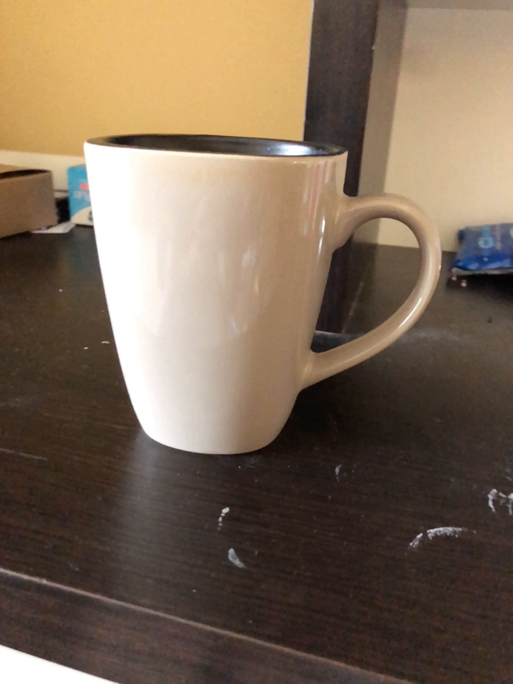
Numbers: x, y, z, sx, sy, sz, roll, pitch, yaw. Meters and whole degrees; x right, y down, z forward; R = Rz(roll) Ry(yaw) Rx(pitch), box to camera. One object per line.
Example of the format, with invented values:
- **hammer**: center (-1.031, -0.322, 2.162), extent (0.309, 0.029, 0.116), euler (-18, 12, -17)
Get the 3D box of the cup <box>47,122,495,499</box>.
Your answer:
- **cup**: center (0.007, -0.024, 0.231), extent (0.130, 0.110, 0.100), euler (7, 24, 9)
